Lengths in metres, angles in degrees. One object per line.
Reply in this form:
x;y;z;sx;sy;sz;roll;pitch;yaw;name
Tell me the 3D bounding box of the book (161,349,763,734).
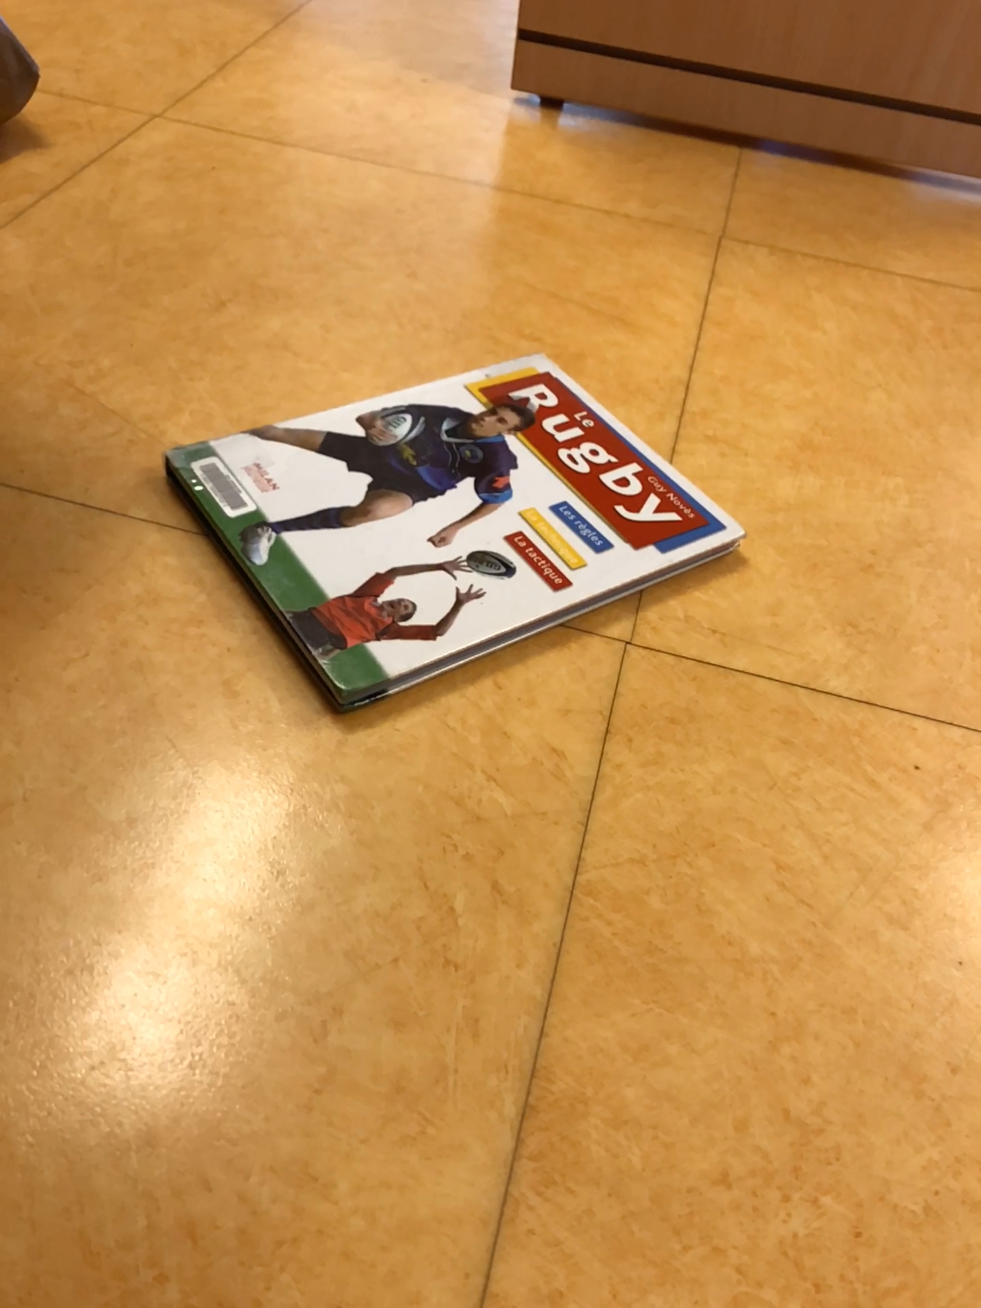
-0.015;-0.081;0.595;0.261;0.024;0.203;-22;53;-27;book
